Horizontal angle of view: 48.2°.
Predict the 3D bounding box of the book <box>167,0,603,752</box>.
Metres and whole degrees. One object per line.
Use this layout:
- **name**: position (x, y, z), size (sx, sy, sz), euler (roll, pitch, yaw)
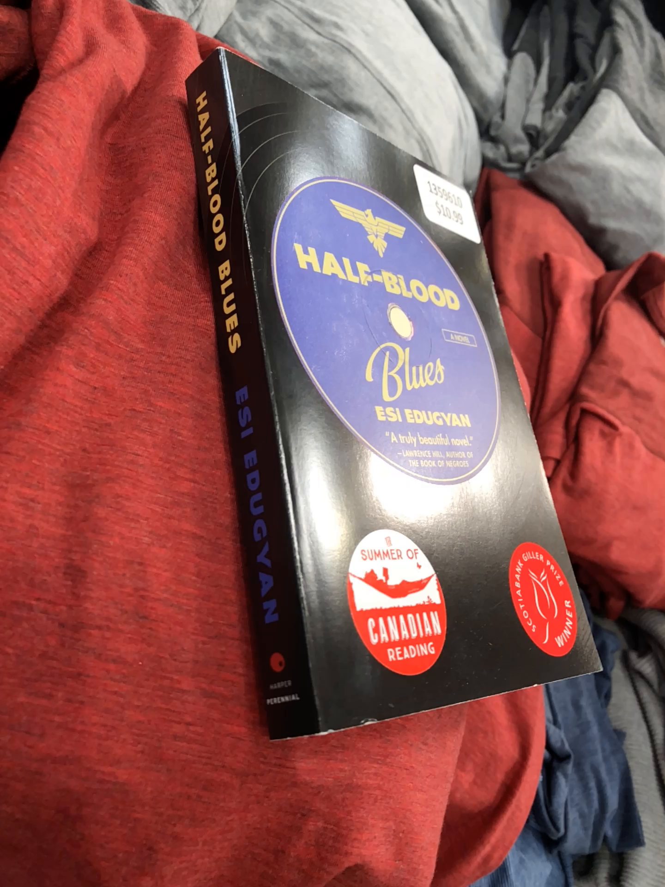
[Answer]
- **book**: position (0.021, -0.024, 0.257), size (0.146, 0.025, 0.220), euler (13, 60, -47)
